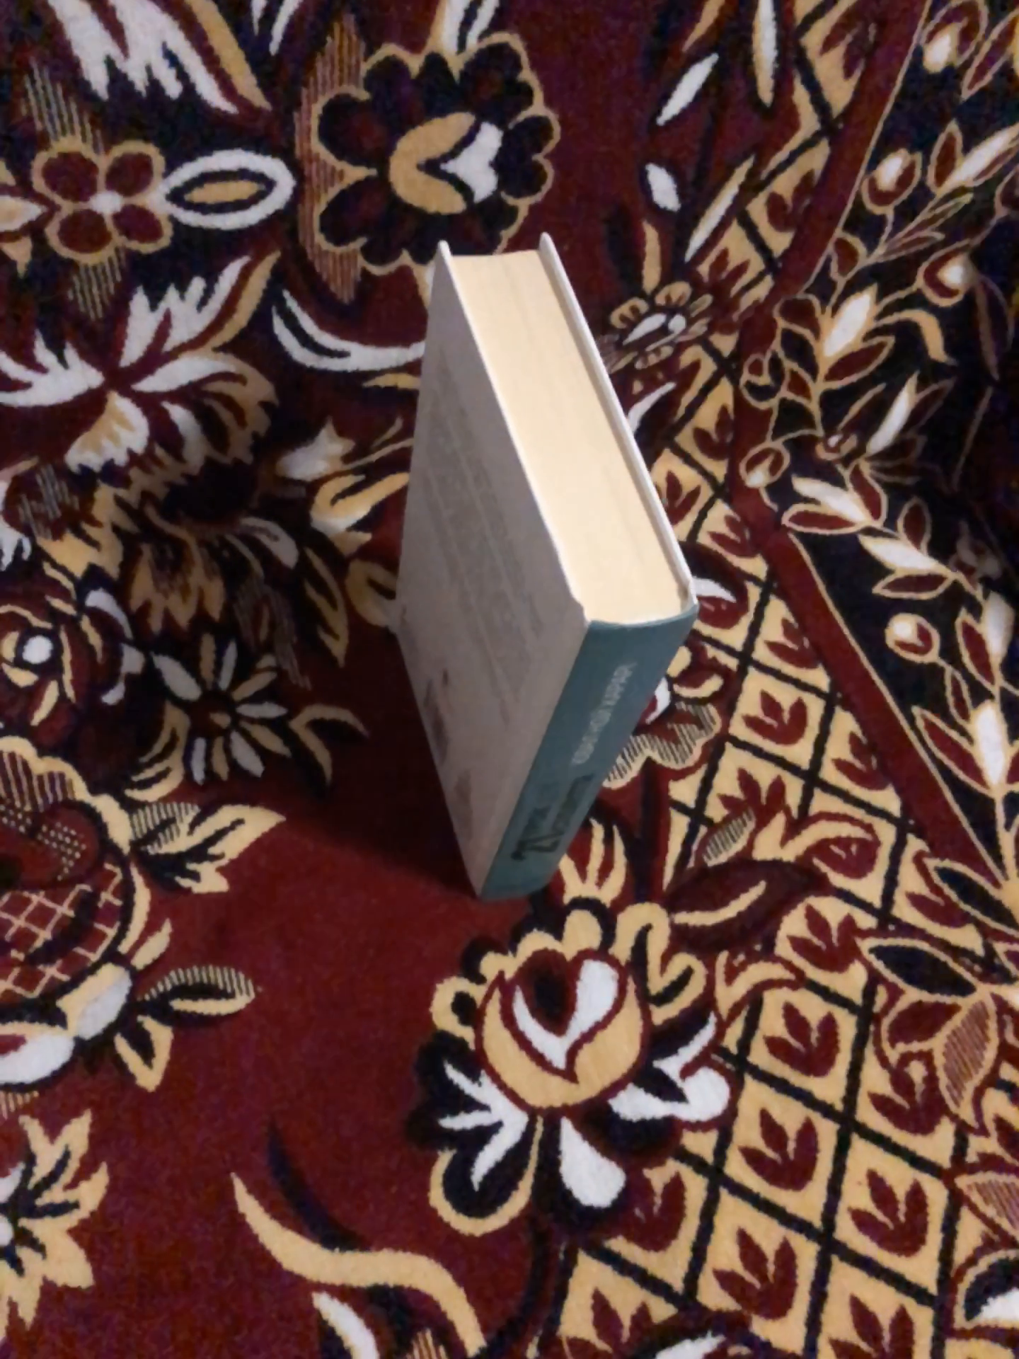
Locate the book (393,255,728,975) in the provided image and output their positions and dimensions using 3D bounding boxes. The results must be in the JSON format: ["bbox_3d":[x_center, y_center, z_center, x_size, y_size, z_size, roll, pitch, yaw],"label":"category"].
[{"bbox_3d":[0.000,-0.007,0.388,0.040,0.212,0.154,-9,61,-14],"label":"book"}]
